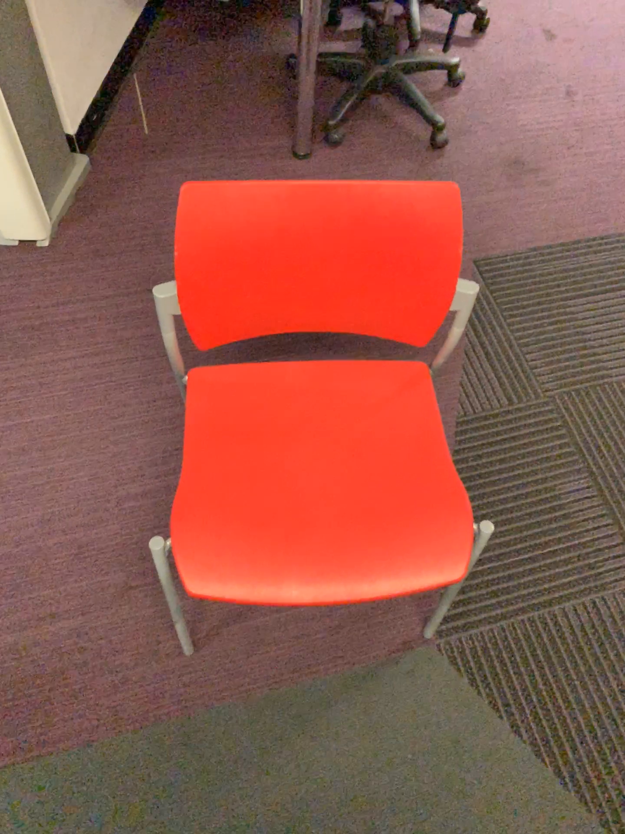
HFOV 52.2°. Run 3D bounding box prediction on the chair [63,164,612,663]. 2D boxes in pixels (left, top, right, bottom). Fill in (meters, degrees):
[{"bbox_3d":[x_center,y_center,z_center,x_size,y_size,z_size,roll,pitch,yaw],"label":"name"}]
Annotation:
[{"bbox_3d":[0.019,0.055,1.065,0.540,0.685,0.564,0,60,-1],"label":"chair"}]
